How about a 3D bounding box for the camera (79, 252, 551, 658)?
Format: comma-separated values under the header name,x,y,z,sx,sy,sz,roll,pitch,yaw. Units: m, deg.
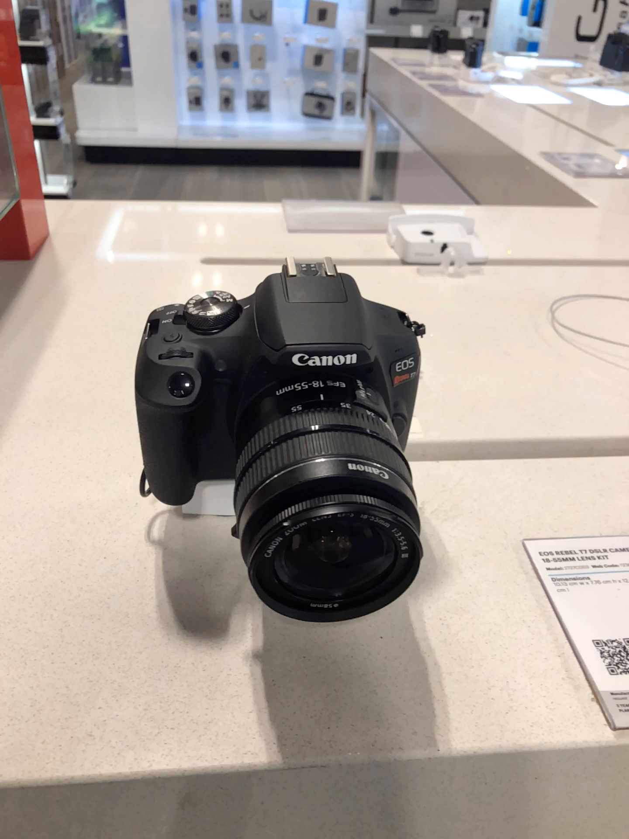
name,x,y,z,sx,sy,sz,roll,pitch,yaw
camera,-0.009,0.001,0.291,0.140,0.089,0.151,-3,34,-8
